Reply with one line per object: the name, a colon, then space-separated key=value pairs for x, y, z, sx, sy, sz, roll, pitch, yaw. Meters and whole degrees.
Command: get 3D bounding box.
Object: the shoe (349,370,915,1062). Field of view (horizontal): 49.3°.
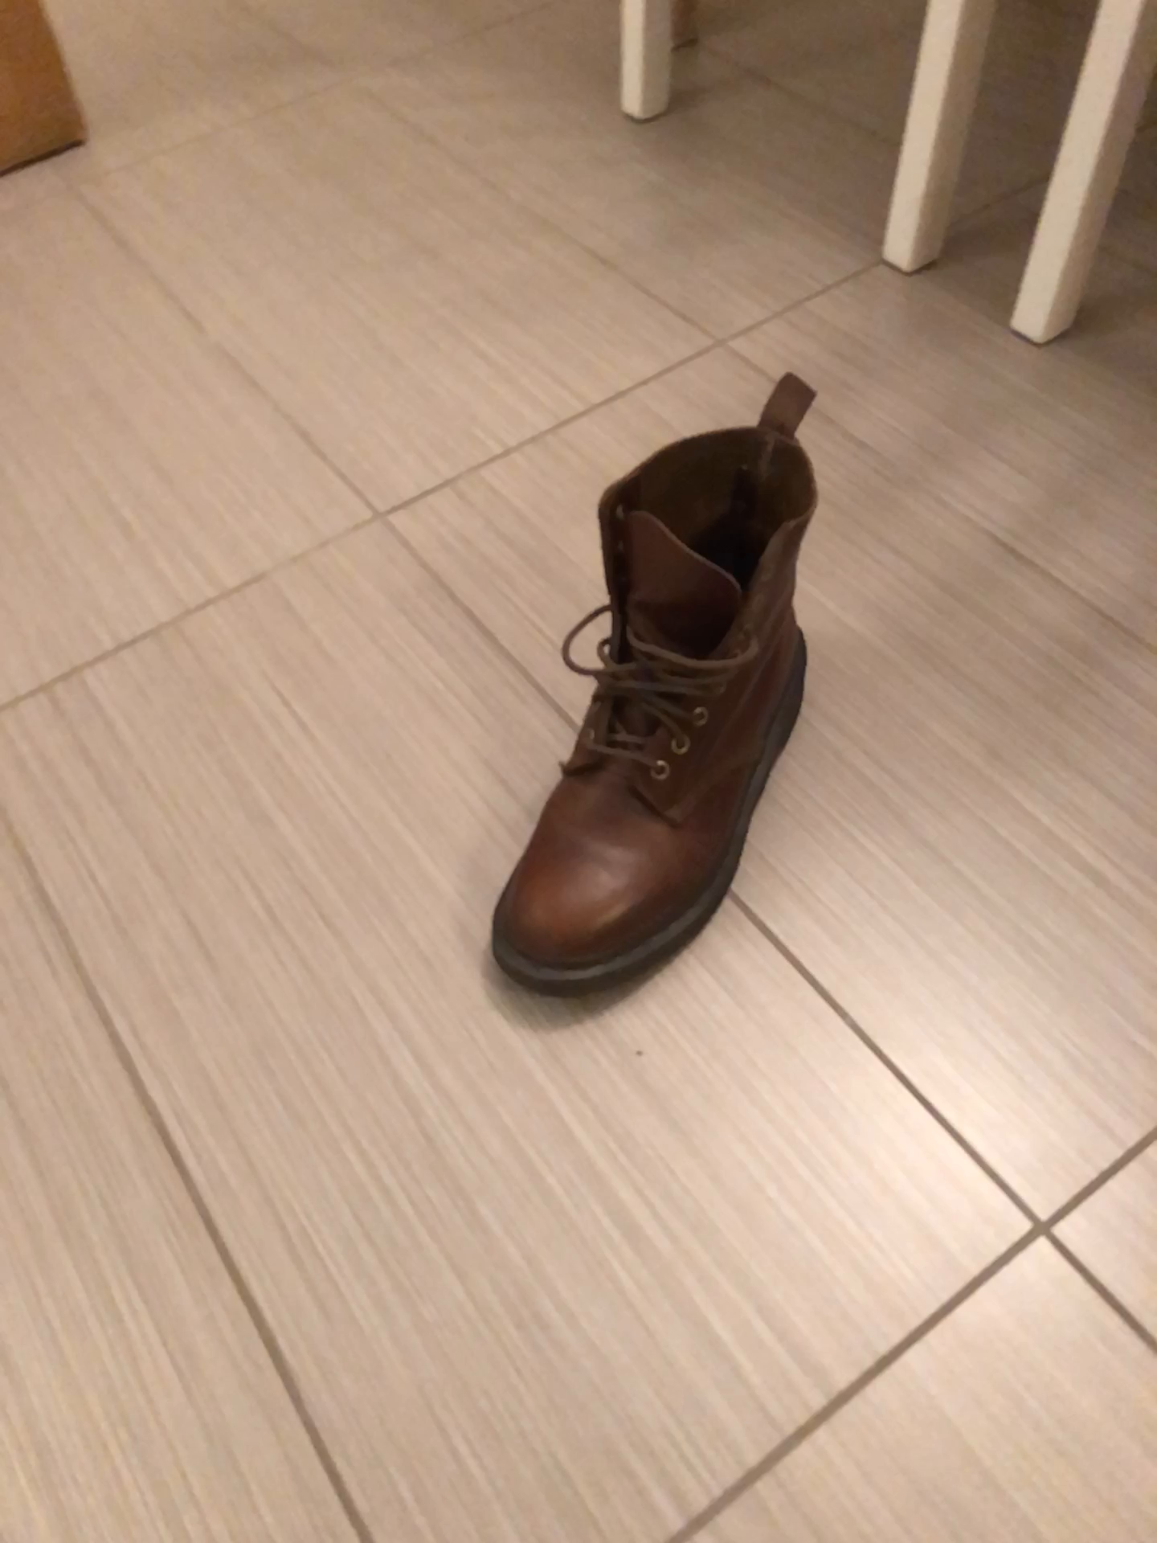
shoe: x=0.041 y=-0.033 z=0.631 sx=0.115 sy=0.180 sz=0.283 roll=27 pitch=59 yaw=24
